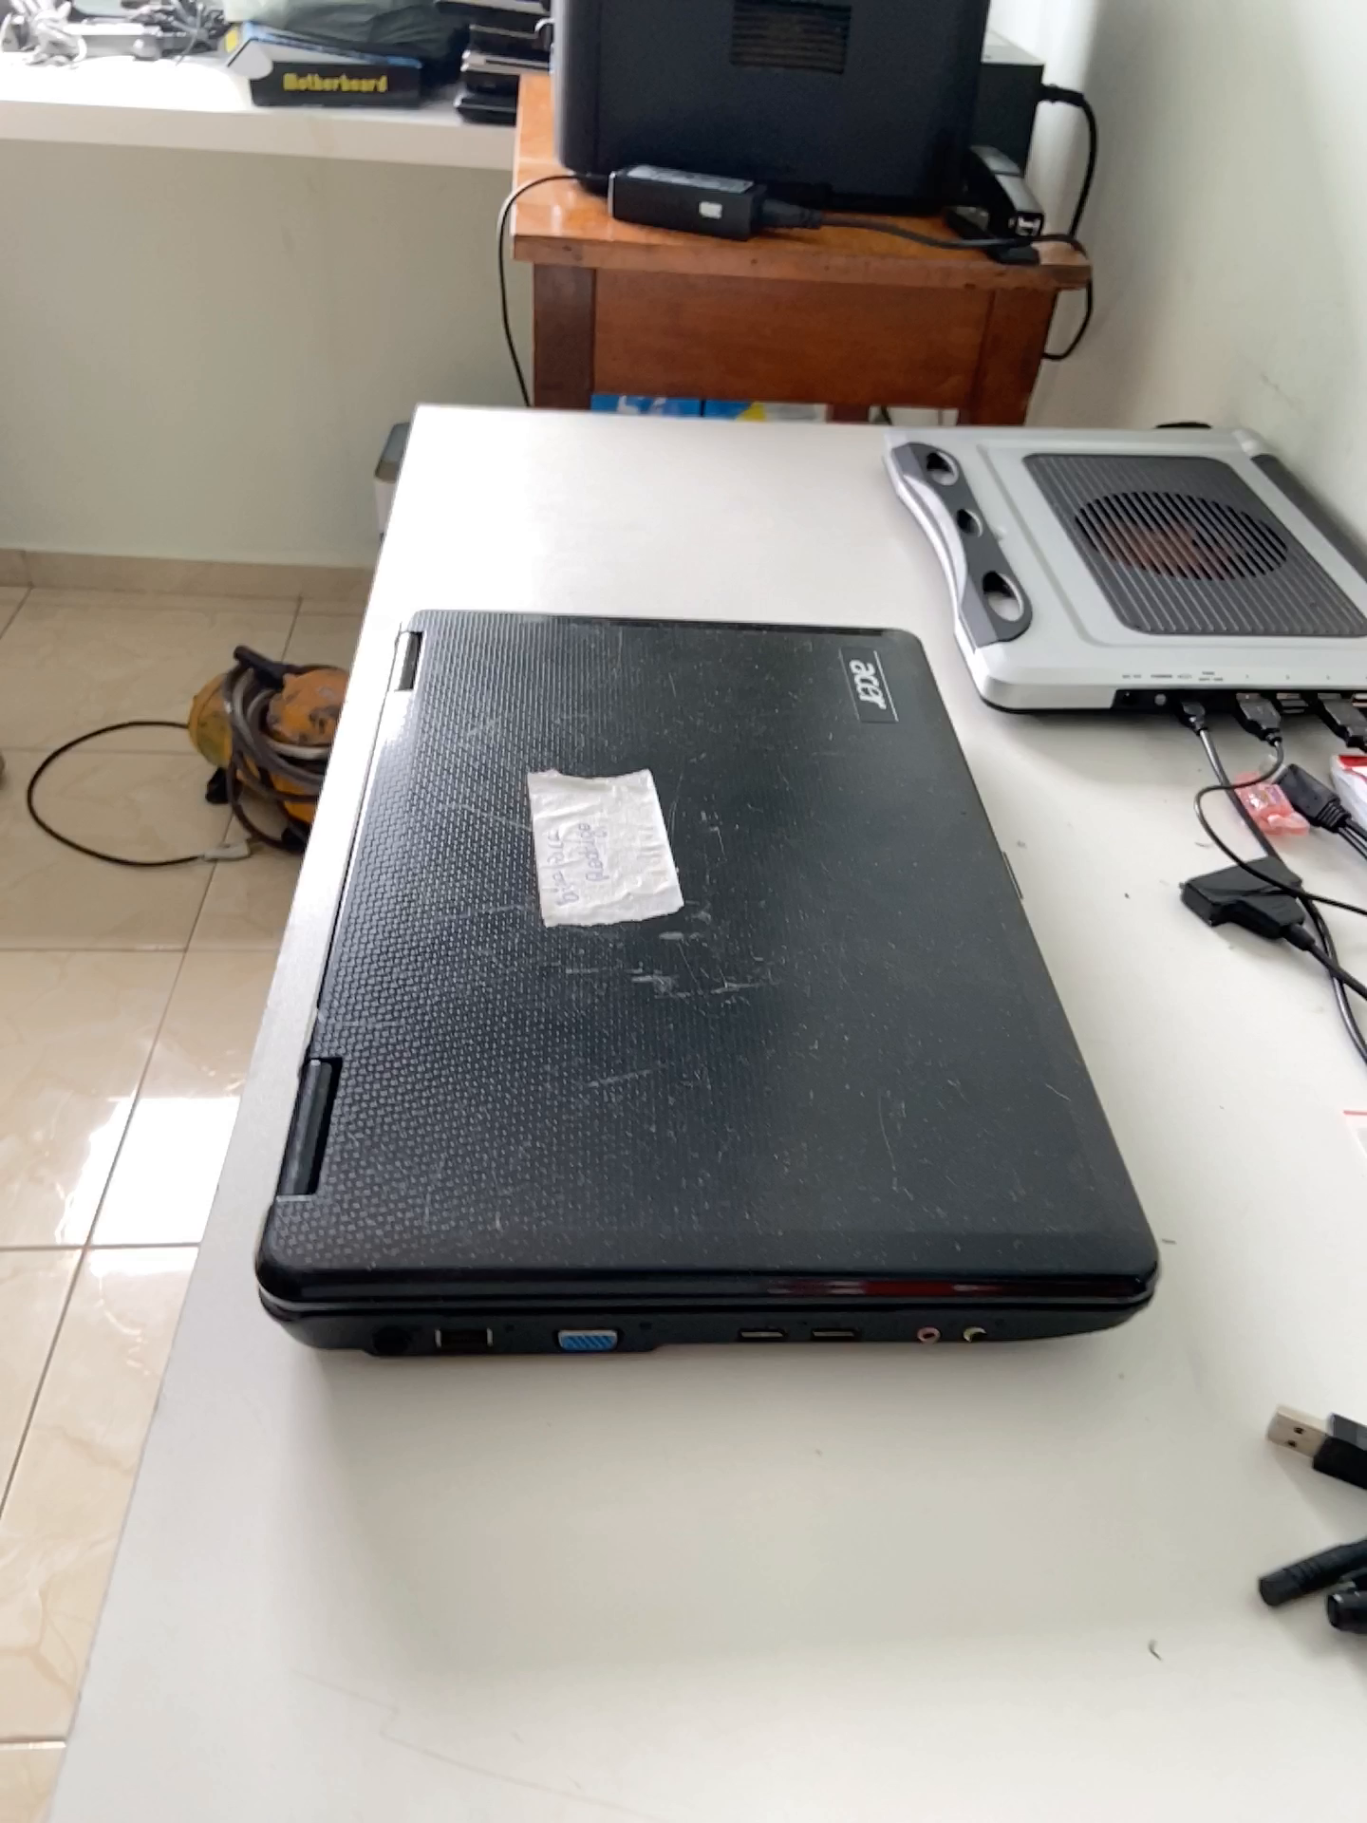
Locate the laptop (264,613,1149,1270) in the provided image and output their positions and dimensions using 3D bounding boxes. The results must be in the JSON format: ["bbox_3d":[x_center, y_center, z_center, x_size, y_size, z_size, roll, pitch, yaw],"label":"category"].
[{"bbox_3d":[0.001,-0.019,0.517,0.238,0.005,0.359,2,39,-5],"label":"laptop"}]
